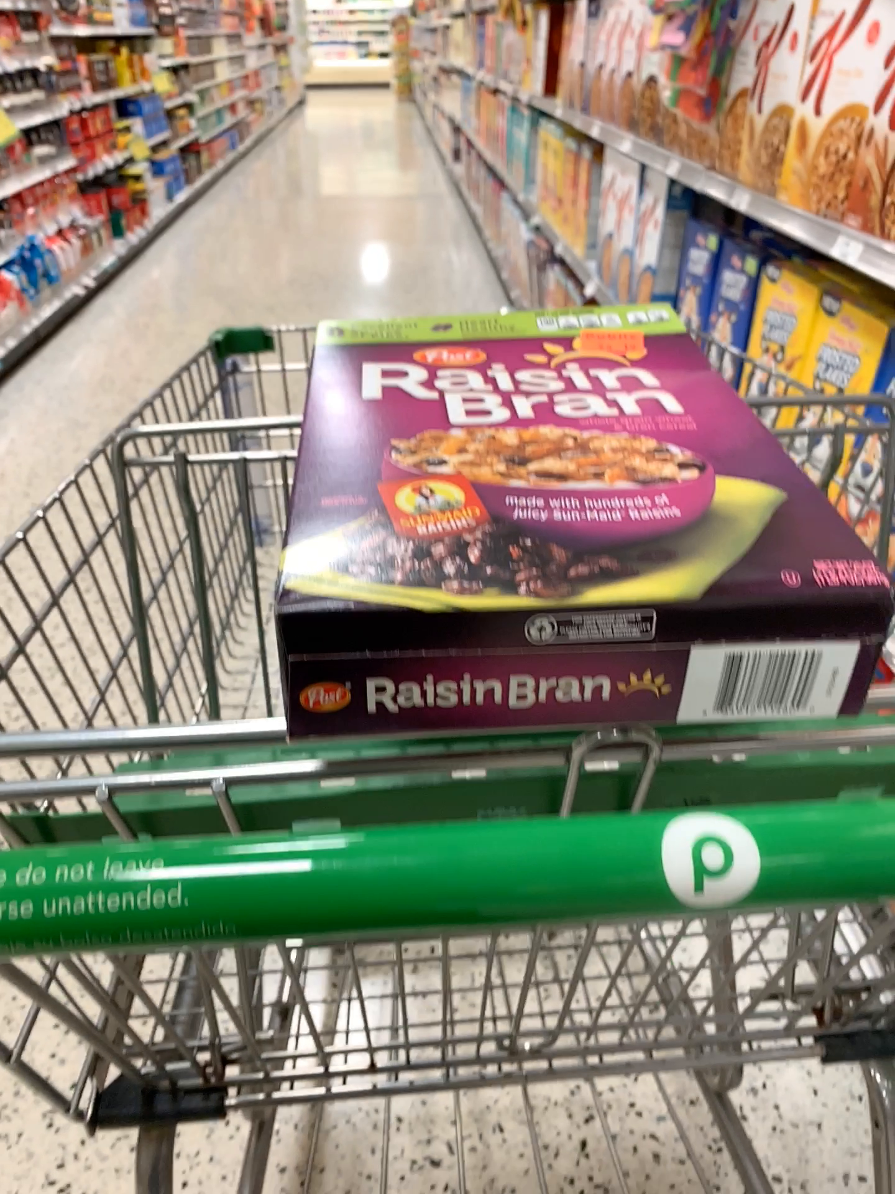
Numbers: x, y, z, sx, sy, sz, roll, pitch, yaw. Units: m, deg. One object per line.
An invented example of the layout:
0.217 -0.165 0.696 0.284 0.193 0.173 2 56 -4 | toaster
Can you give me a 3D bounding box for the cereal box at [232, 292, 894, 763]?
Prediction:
0.035 -0.057 0.394 0.210 0.059 0.283 -3 34 -3 | cereal box
